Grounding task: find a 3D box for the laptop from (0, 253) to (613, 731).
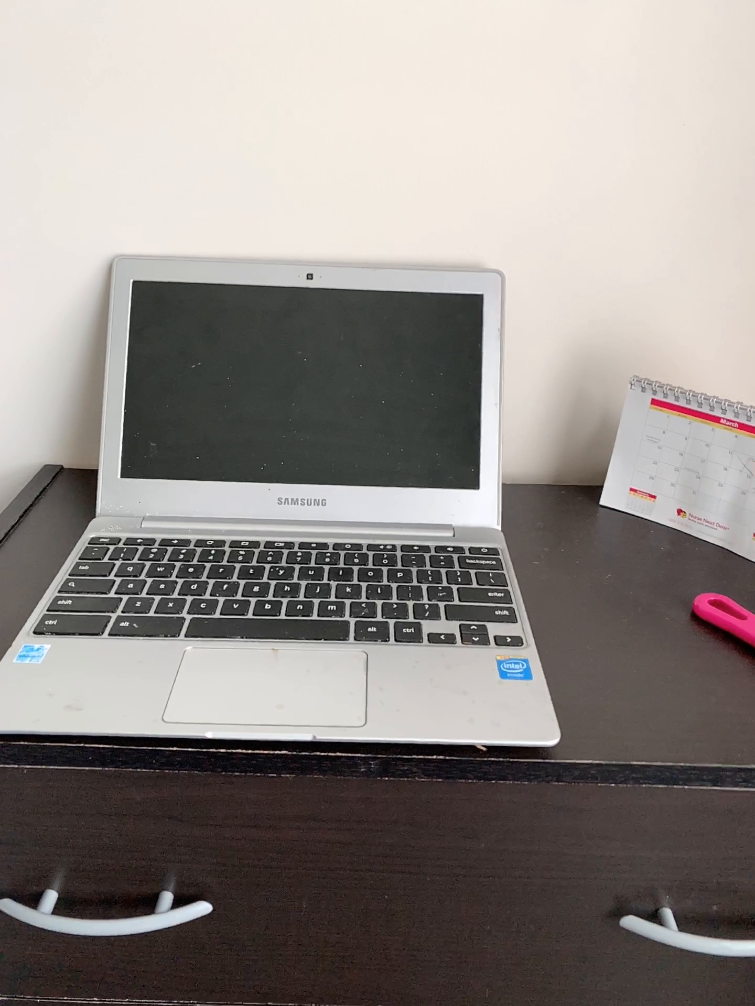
[{"bbox_3d":[-0.055,-0.037,0.473,0.291,0.153,0.319,2,28,-2],"label":"laptop"}]
